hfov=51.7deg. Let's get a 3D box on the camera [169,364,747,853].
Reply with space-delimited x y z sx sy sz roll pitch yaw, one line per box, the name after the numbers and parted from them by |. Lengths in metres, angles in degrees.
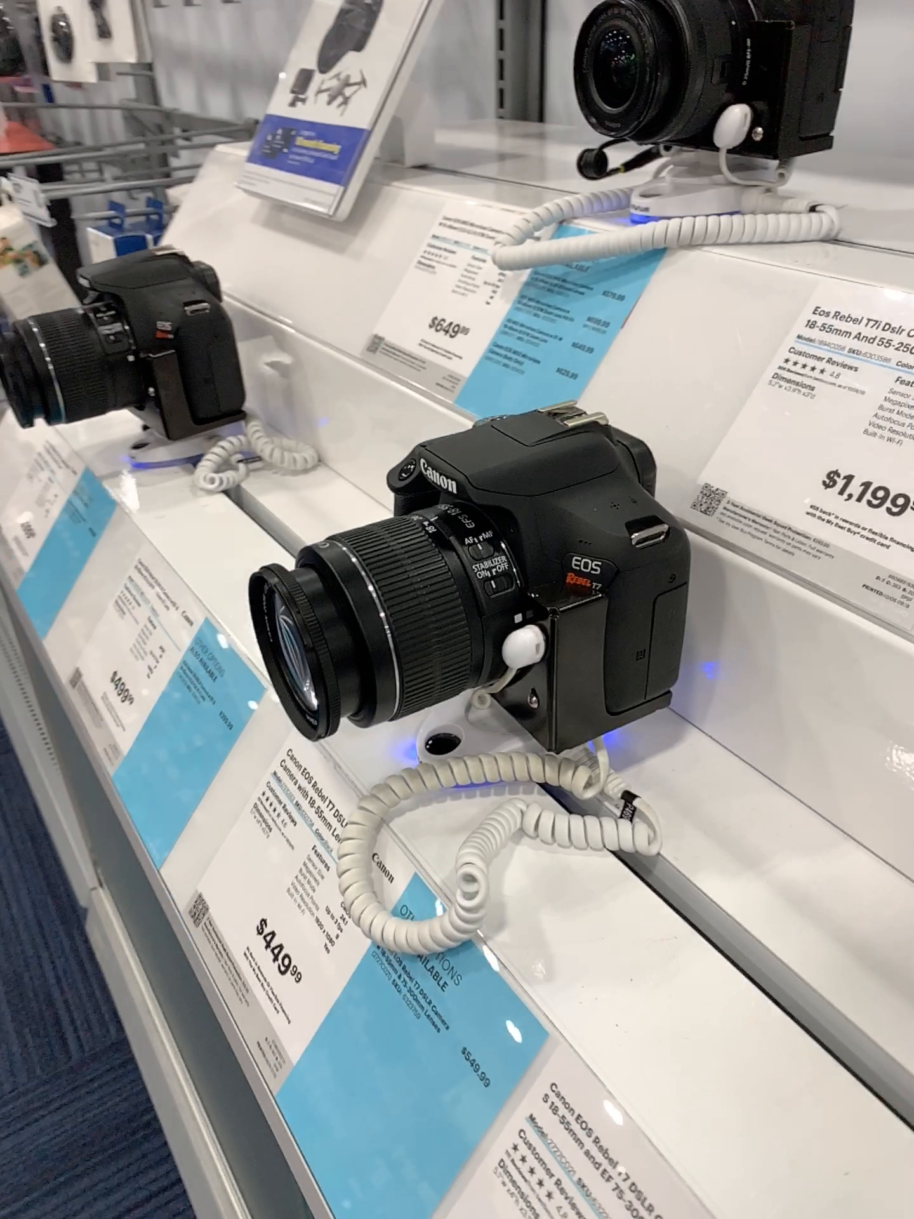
-0.001 -0.016 0.346 0.150 0.090 0.131 -22 37 -30 | camera
